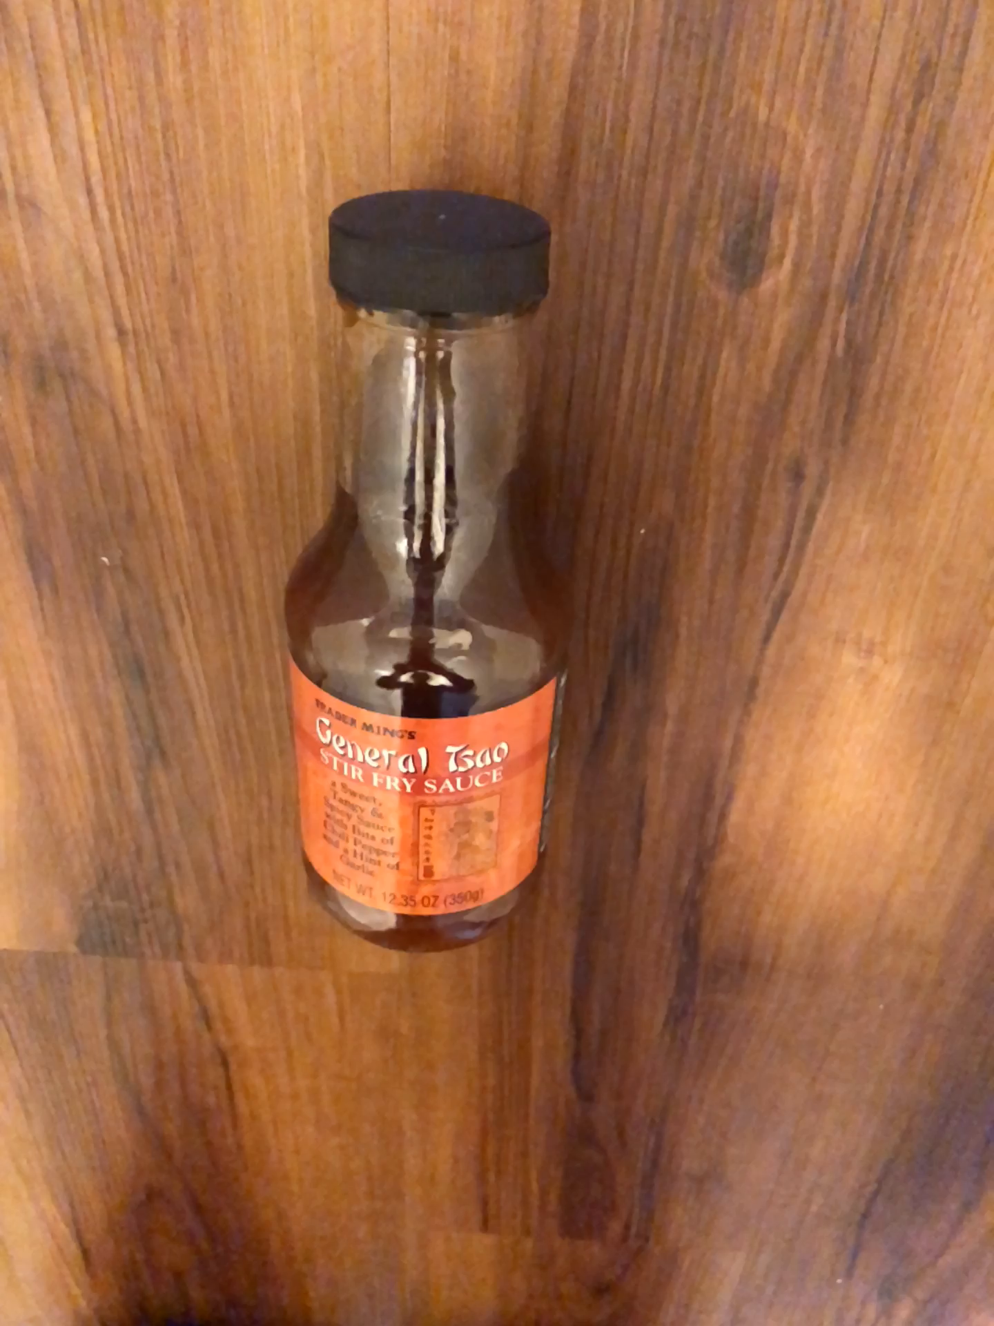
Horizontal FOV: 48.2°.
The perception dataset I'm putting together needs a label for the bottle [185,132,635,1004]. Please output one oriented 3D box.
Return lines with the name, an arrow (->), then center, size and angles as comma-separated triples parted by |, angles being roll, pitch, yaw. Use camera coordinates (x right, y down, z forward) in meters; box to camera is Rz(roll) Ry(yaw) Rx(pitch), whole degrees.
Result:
bottle -> -0.014, -0.011, 0.245 | 0.068, 0.060, 0.181 | 6, 126, 4
